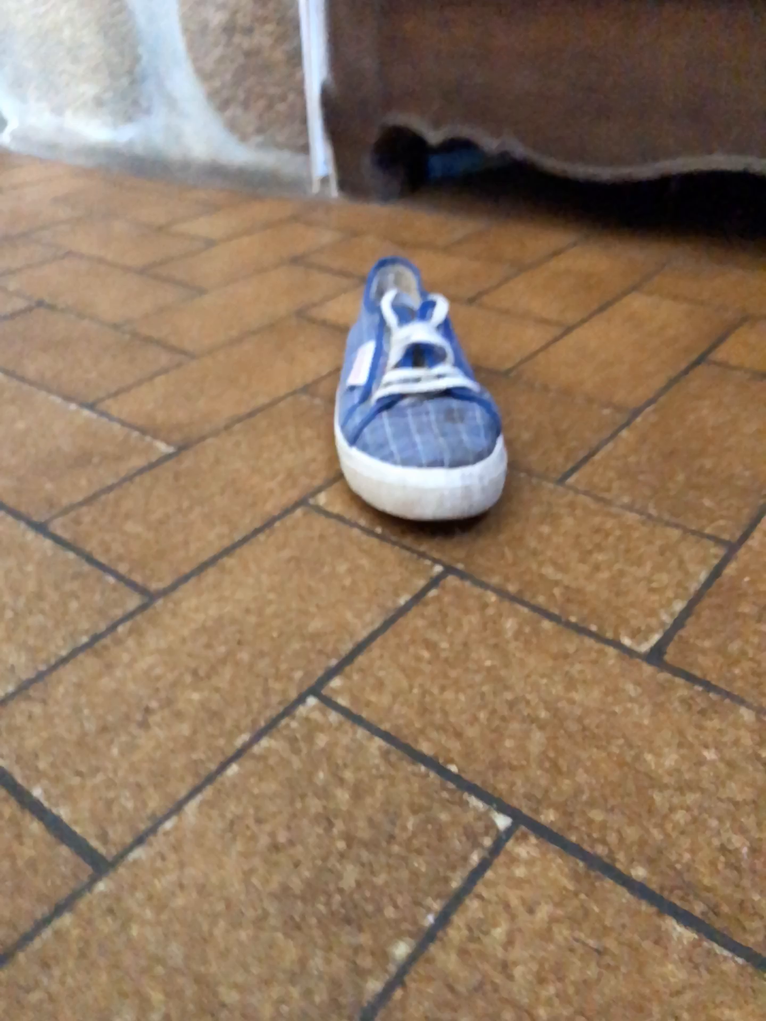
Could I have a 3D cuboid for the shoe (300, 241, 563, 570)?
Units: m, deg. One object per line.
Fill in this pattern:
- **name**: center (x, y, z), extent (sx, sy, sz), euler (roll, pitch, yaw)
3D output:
- **shoe**: center (0.013, -0.077, 0.490), extent (0.100, 0.080, 0.241), euler (-6, 34, -6)
